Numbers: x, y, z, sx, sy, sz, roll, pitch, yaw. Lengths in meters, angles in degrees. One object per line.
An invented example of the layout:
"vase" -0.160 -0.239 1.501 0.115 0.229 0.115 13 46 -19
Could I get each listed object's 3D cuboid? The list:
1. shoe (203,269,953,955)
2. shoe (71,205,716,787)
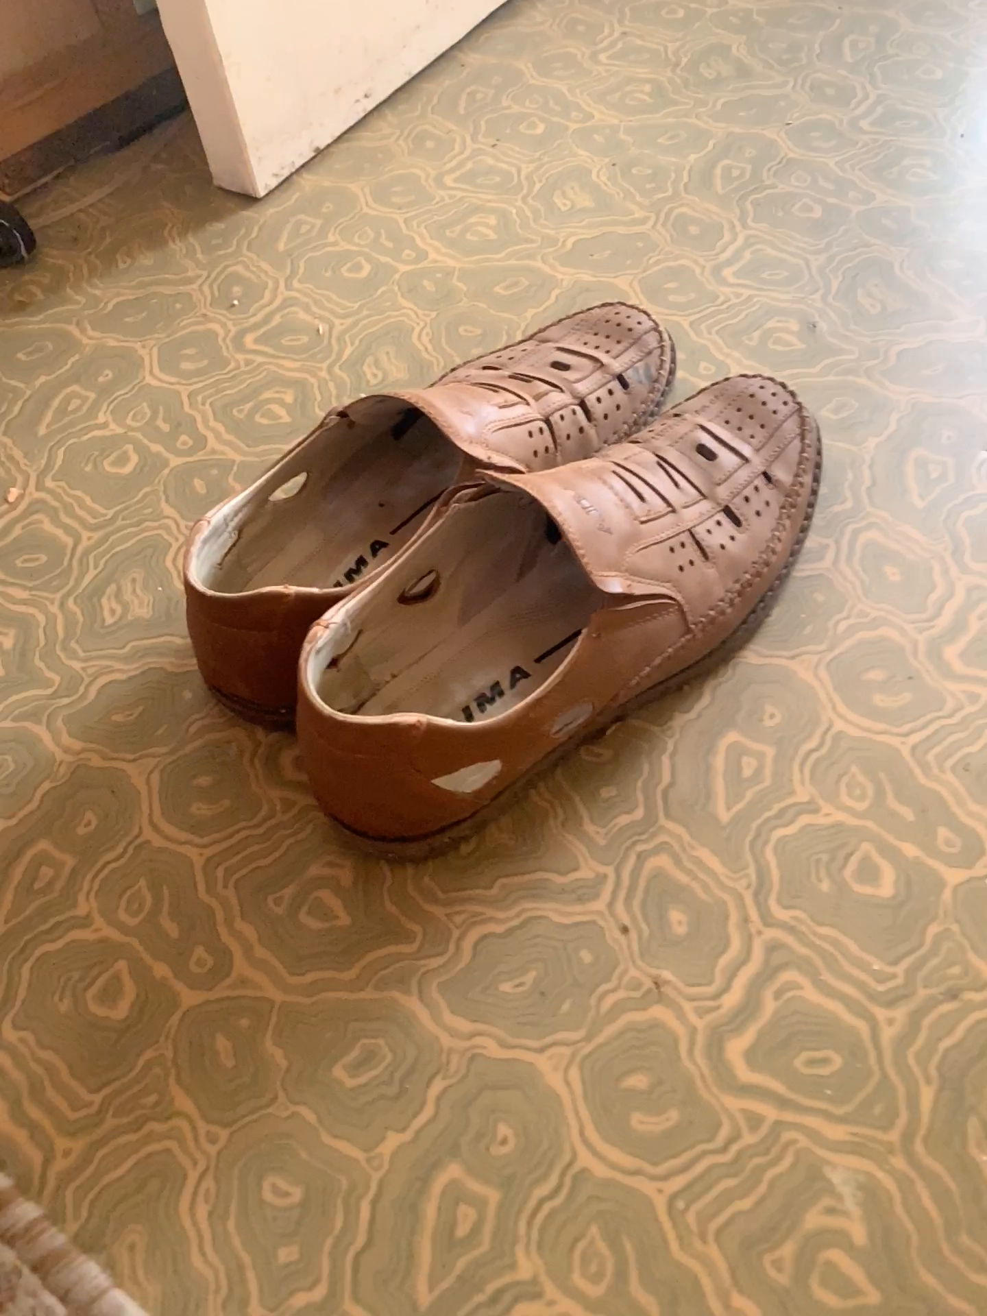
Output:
"shoe" 0.045 -0.034 0.410 0.291 0.079 0.110 -40 61 -21
"shoe" -0.029 -0.087 0.465 0.100 0.079 0.291 35 64 25
